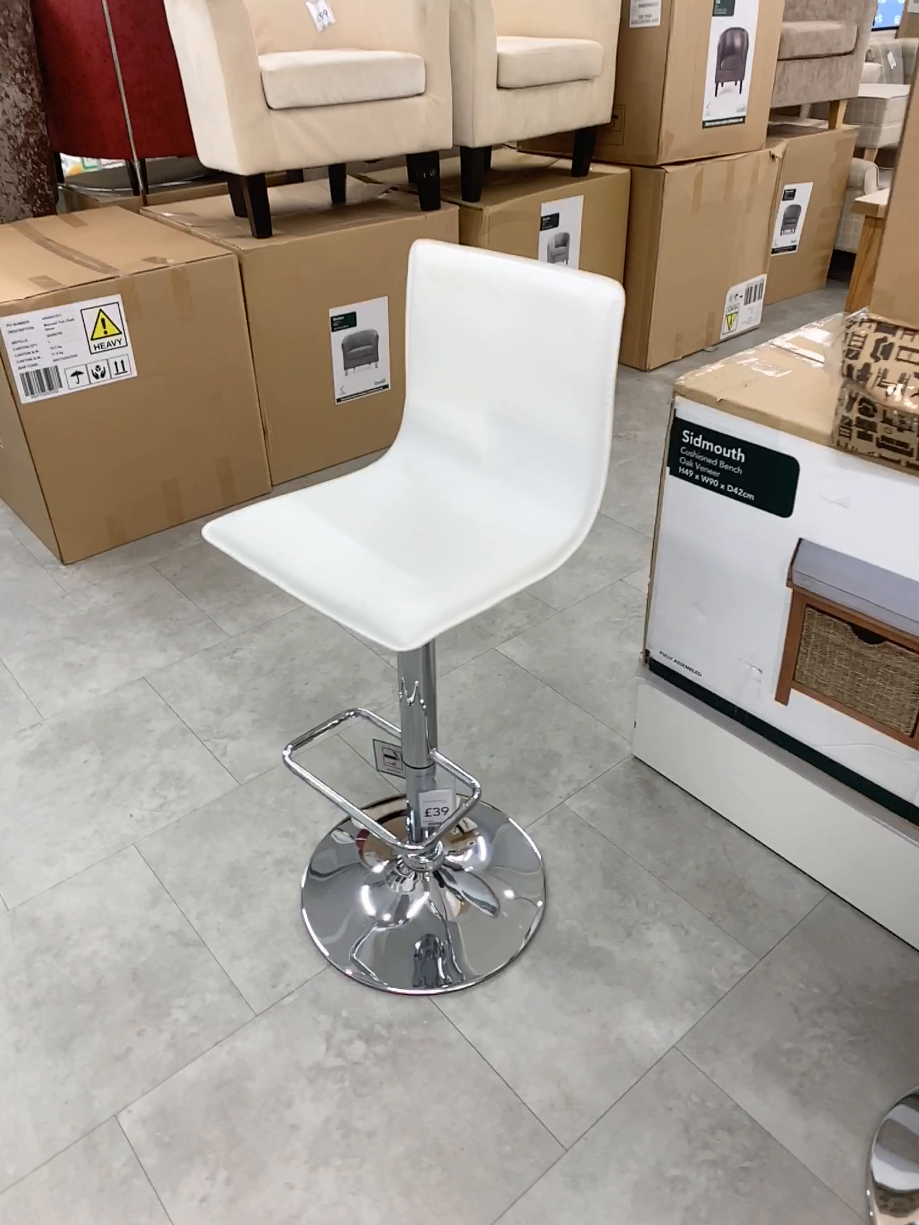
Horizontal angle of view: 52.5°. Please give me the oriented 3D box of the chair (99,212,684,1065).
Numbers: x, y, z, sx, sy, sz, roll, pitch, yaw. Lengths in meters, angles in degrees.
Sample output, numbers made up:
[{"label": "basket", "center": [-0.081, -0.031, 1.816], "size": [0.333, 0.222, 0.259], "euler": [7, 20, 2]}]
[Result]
[{"label": "chair", "center": [-0.069, 0.043, 1.291], "size": [0.461, 0.989, 0.444], "euler": [28, 44, 36]}]

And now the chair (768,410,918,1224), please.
[{"label": "chair", "center": [0.690, 0.374, 0.852], "size": [0.444, 0.910, 0.471], "euler": [-28, 42, -33]}]
